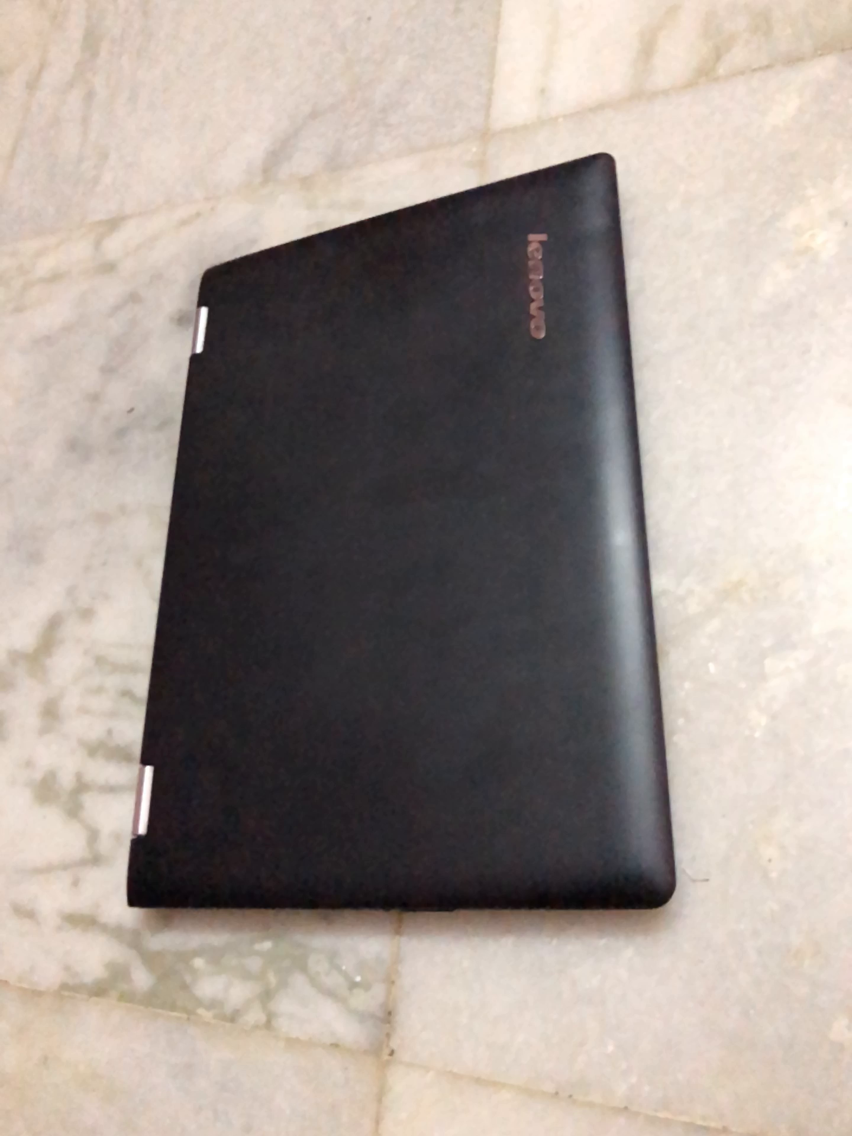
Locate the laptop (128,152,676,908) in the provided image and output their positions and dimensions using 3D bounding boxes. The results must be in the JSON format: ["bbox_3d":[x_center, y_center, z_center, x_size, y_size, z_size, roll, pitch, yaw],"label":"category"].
[{"bbox_3d":[-0.018,-0.026,0.416,0.223,0.002,0.329,-8,66,21],"label":"laptop"}]
